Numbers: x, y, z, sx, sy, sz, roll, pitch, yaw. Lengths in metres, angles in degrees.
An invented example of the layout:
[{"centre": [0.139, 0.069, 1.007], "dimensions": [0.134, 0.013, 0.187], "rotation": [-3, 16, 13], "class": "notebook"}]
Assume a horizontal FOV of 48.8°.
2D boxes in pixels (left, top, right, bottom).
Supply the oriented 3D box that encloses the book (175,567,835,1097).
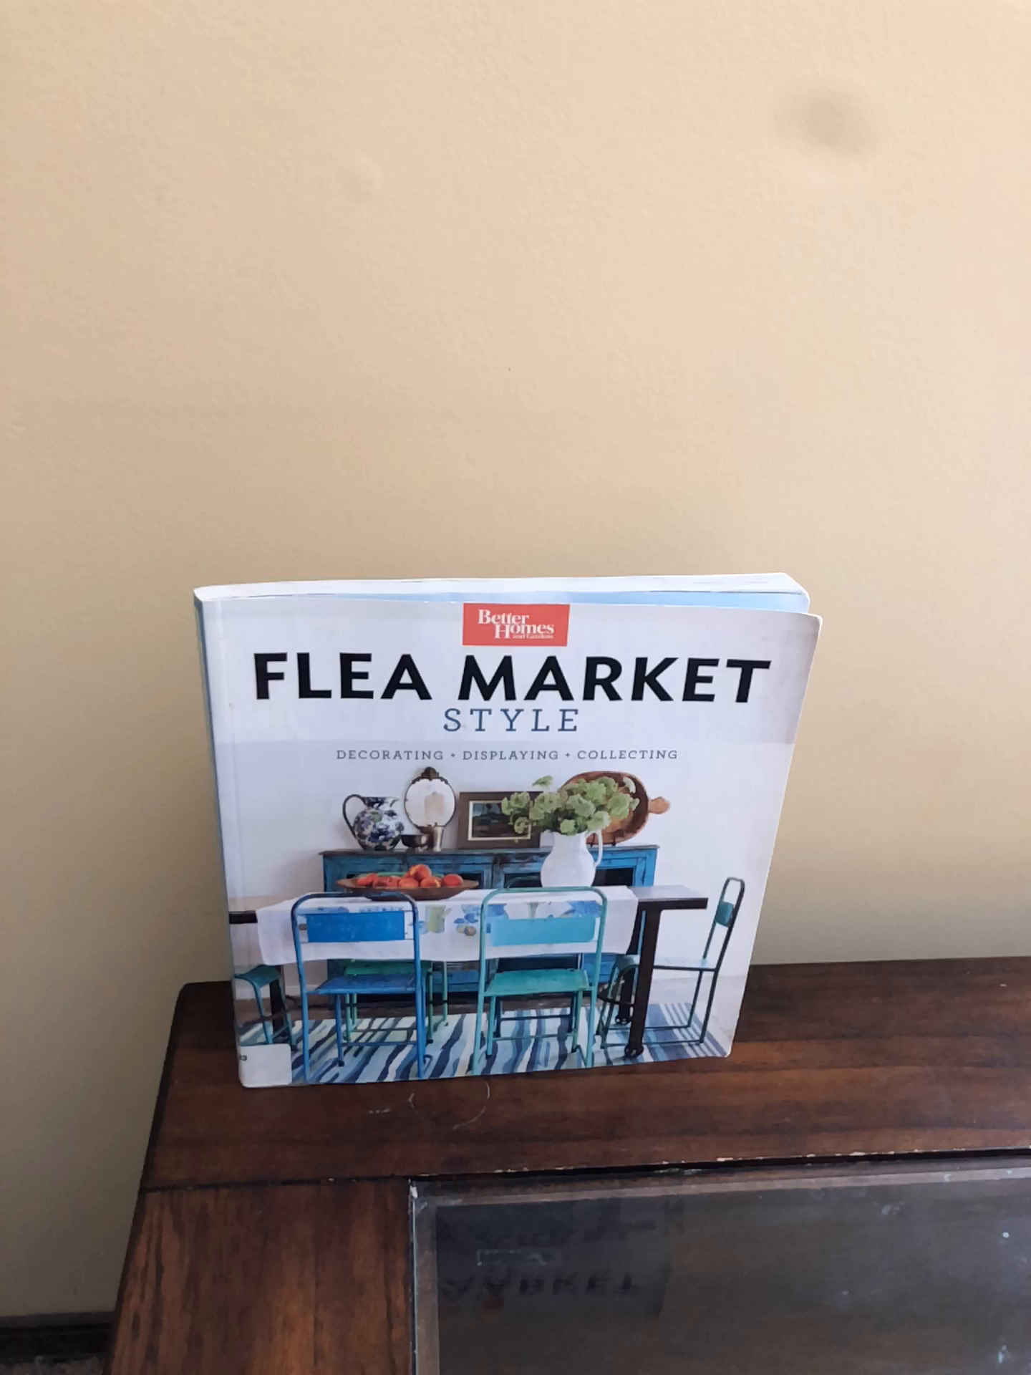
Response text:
[{"centre": [-0.007, 0.068, 0.474], "dimensions": [0.233, 0.239, 0.032], "rotation": [-2, 32, -8], "class": "book"}]
